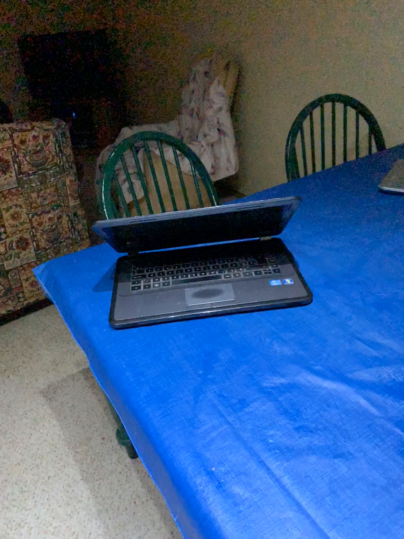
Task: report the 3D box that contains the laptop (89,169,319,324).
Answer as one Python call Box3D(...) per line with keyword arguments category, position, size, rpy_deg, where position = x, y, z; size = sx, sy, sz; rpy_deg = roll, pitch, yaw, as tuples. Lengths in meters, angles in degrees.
Box3D(category="laptop", position=(0.002, -0.057, 0.785), size=(0.361, 0.160, 0.245), rpy_deg=(-7, 30, -2))
